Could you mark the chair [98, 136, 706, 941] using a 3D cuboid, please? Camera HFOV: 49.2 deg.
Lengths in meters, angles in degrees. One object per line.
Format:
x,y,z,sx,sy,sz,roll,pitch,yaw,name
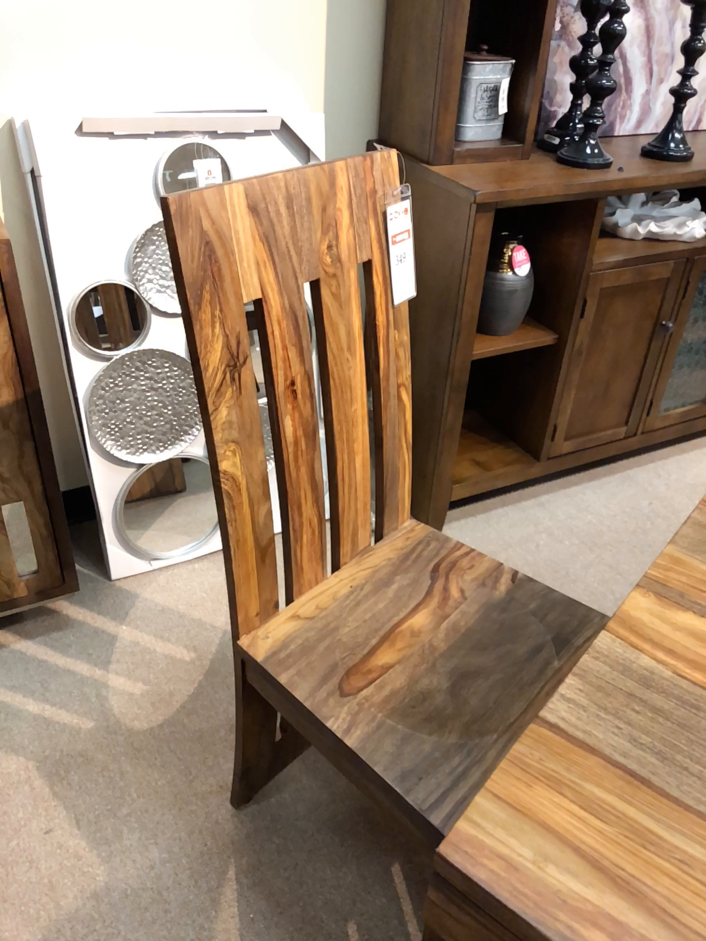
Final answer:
0.101,0.162,1.081,0.592,1.023,0.512,29,42,32,chair
